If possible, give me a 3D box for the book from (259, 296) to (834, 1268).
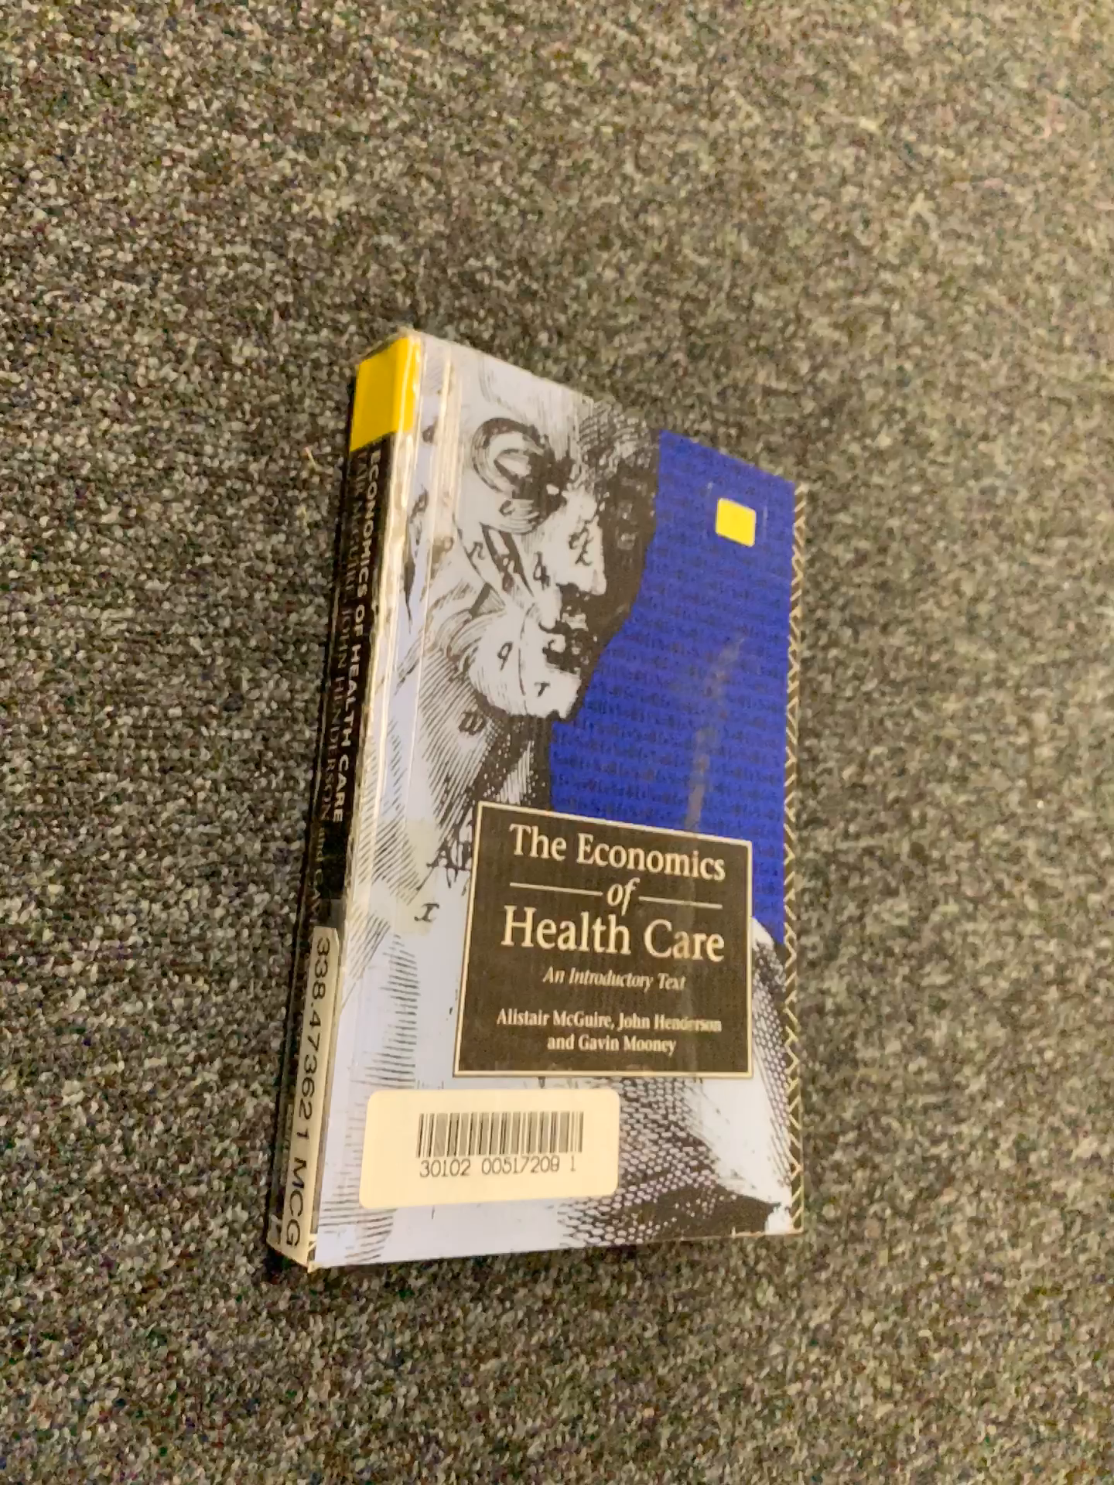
[{"bbox_3d":[0.008,0.013,0.292,0.136,0.030,0.207,12,77,-33],"label":"book"}]
